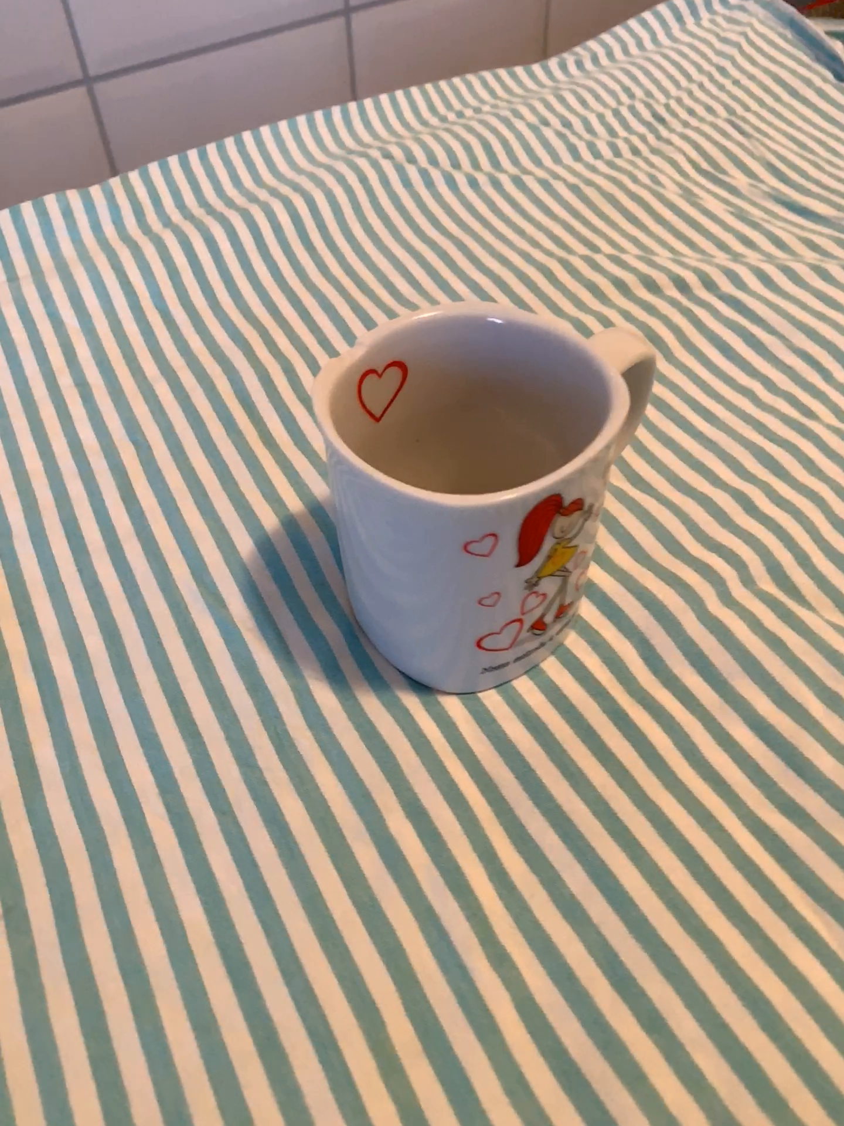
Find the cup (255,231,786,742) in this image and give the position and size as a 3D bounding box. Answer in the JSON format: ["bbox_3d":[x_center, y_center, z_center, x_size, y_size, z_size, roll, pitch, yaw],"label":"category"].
[{"bbox_3d":[0.025,-0.024,0.243,0.110,0.080,0.070,-29,54,-22],"label":"cup"}]
